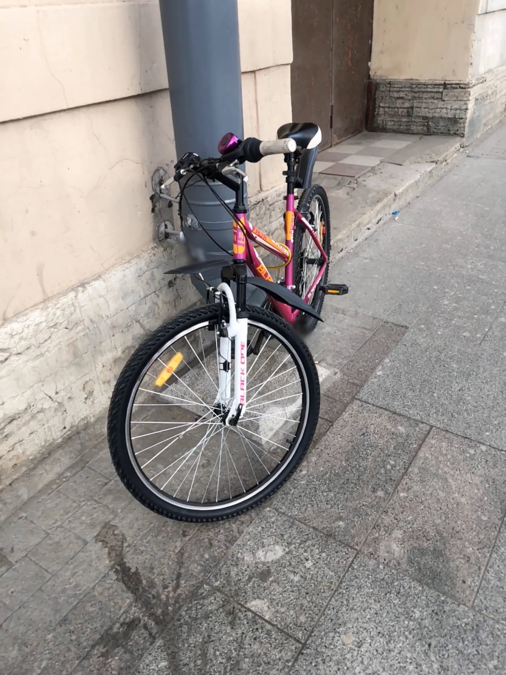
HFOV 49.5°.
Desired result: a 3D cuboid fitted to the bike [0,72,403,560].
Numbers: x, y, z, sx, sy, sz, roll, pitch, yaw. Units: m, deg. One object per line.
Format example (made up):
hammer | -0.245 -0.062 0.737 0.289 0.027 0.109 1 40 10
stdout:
bike | -0.042 -0.260 1.920 0.623 0.973 1.582 12 36 24
